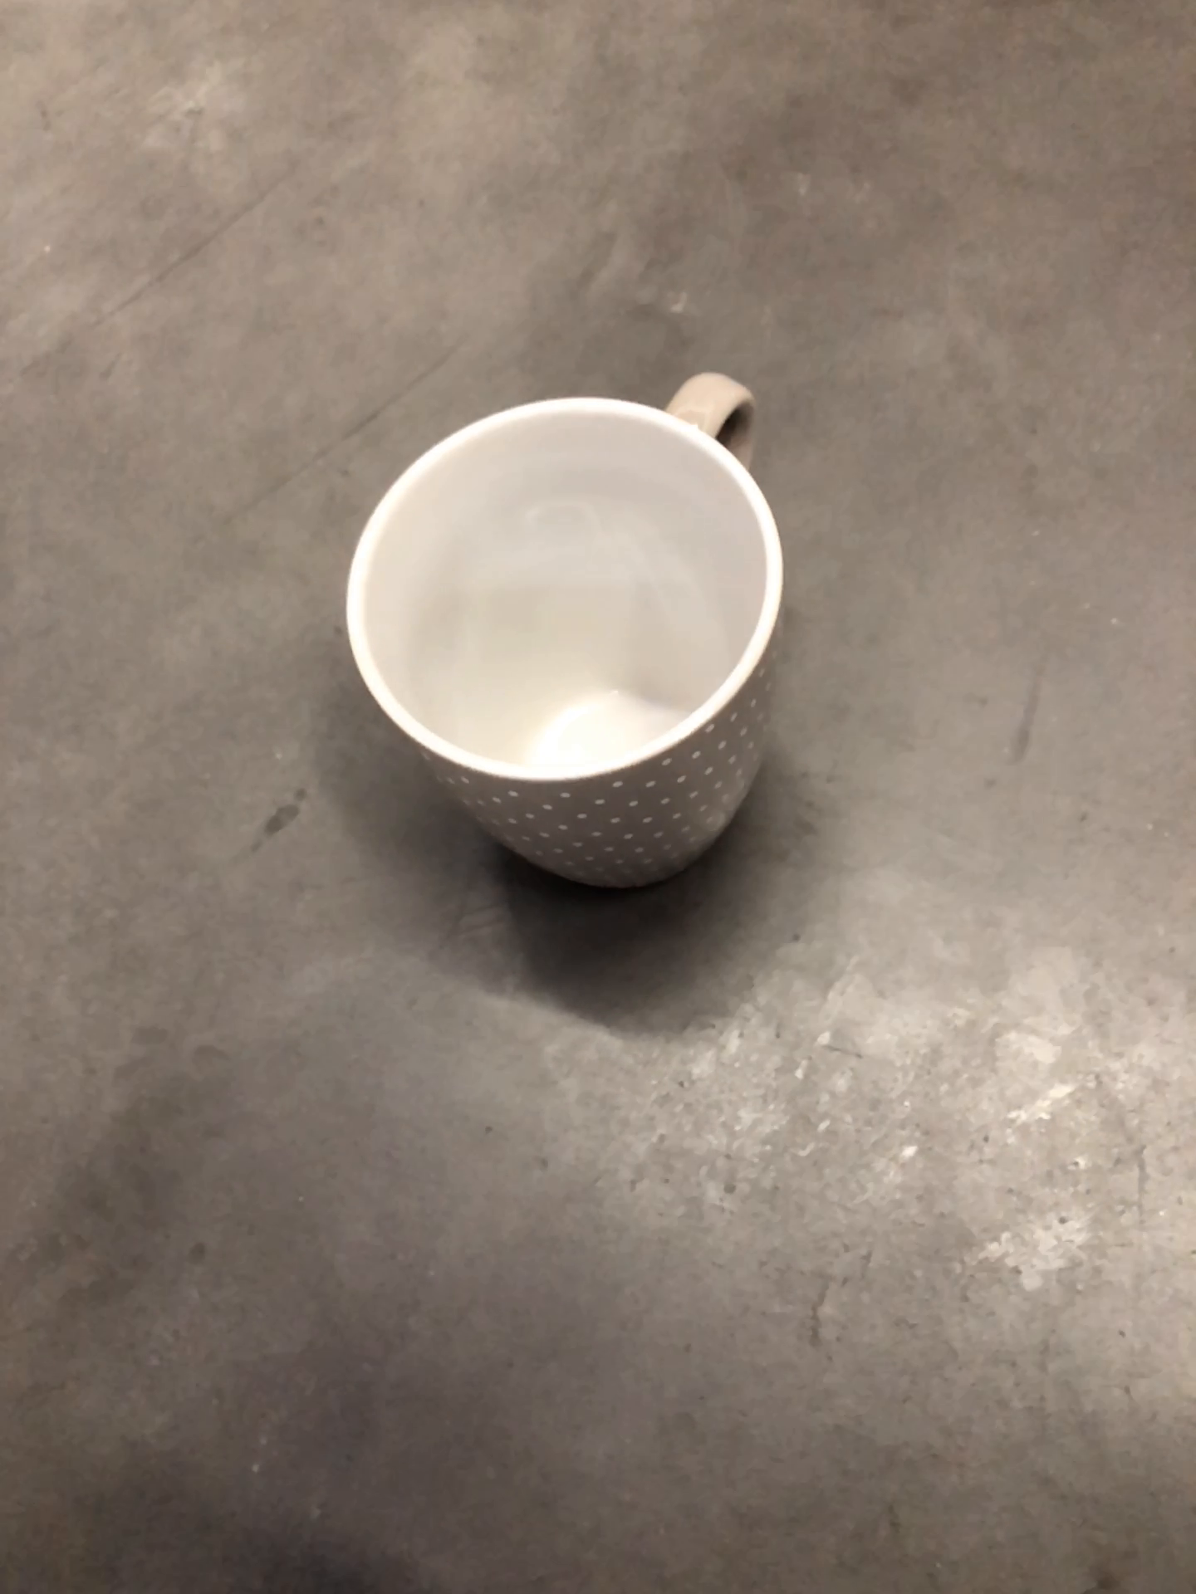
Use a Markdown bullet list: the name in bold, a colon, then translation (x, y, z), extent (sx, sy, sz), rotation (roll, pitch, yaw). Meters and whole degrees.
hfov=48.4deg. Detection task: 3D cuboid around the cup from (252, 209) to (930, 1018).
- **cup**: translation (0.009, -0.040, 0.324), extent (0.091, 0.107, 0.142), rotation (20, 72, 17)
